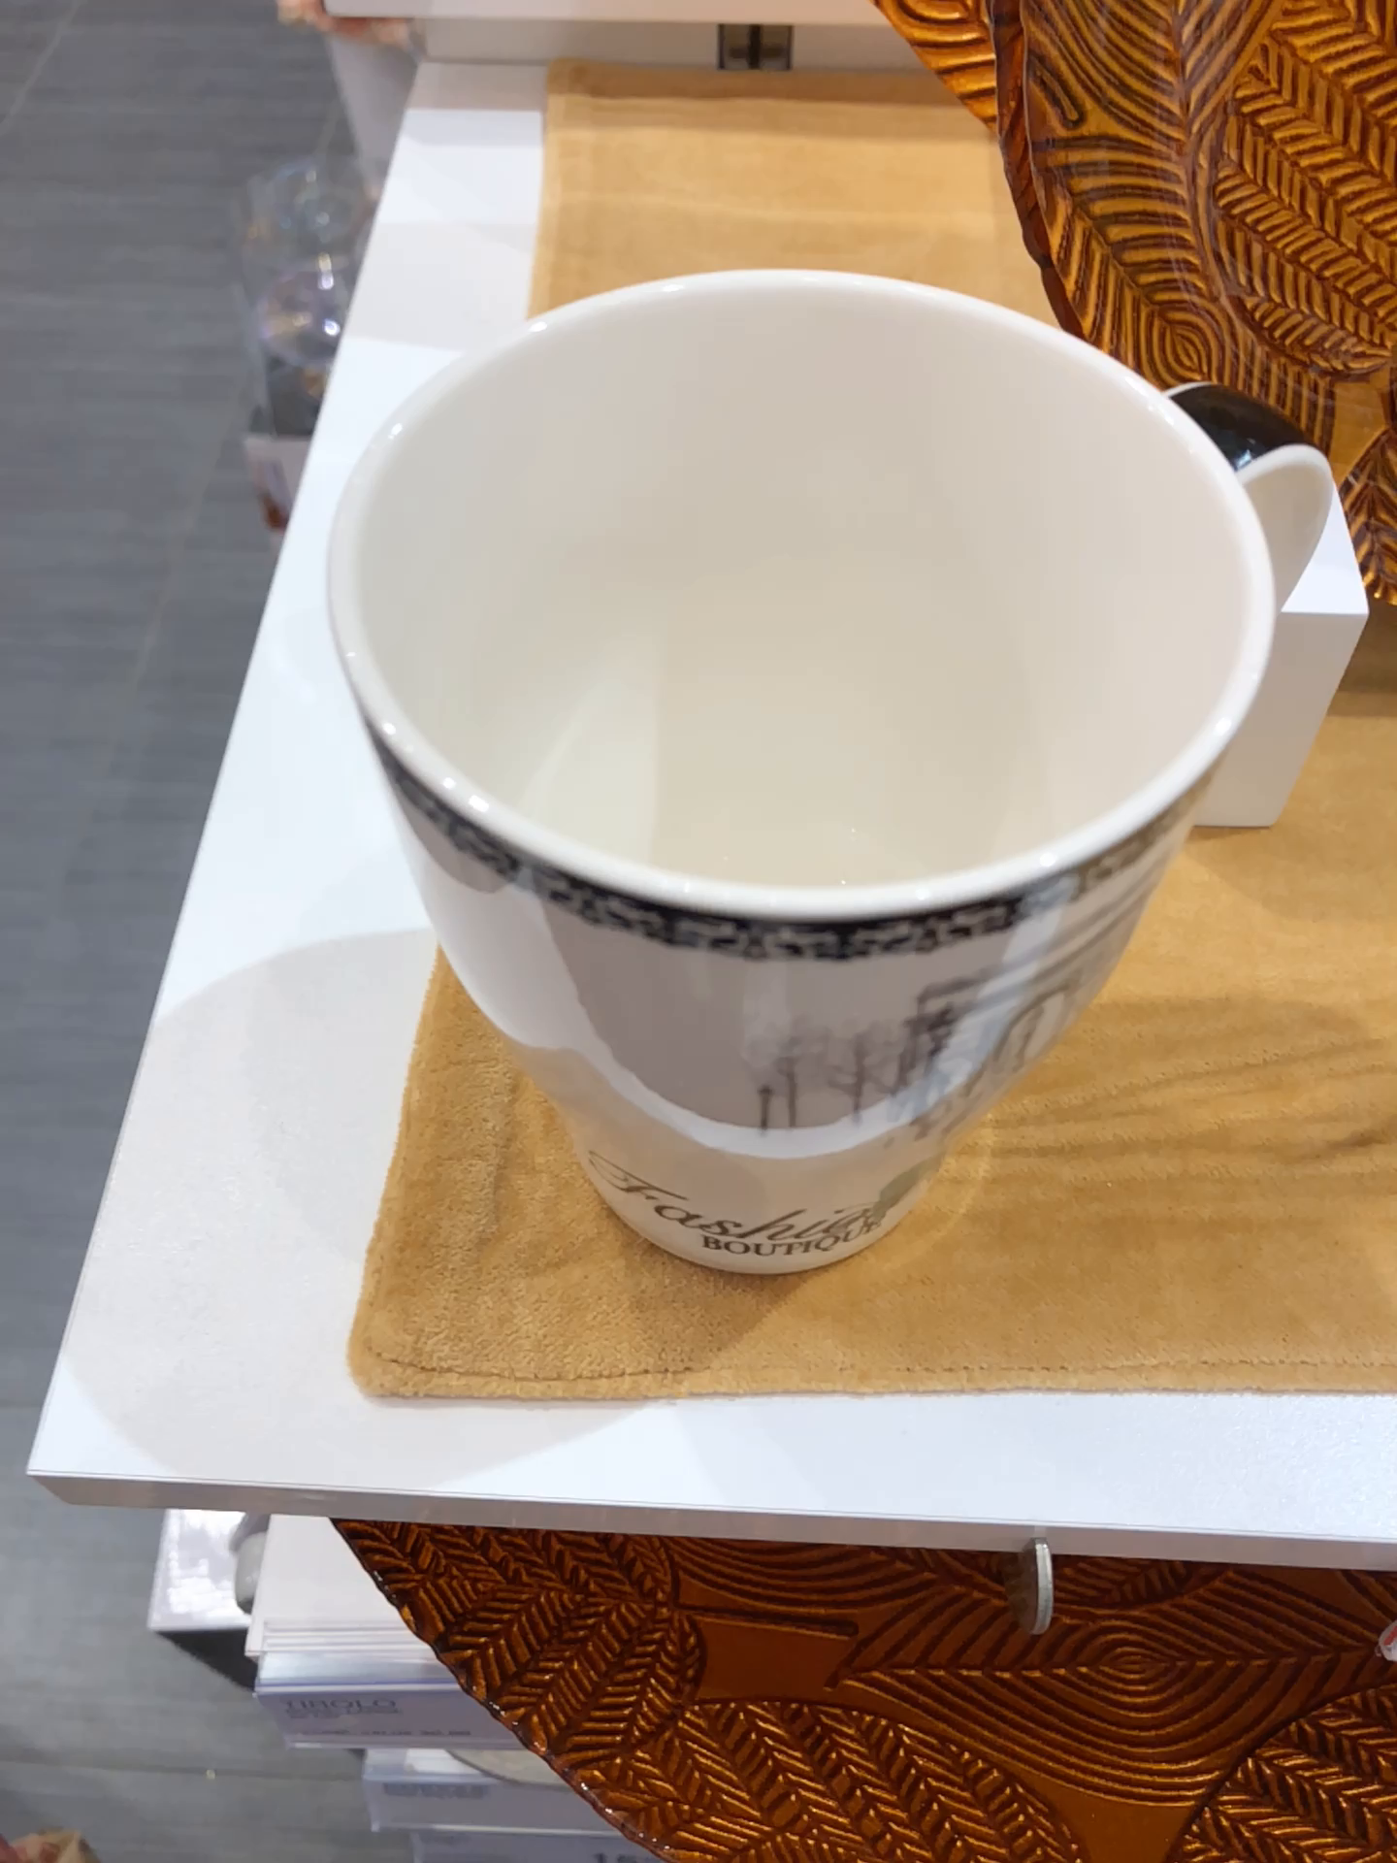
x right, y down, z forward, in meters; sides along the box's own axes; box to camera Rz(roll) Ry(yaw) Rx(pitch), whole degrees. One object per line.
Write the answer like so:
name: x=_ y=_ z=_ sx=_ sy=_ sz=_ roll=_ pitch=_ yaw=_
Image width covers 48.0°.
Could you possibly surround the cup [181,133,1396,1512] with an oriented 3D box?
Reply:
cup: x=0.020 y=-0.011 z=0.184 sx=0.110 sy=0.100 sz=0.080 roll=-28 pitch=59 yaw=-18
